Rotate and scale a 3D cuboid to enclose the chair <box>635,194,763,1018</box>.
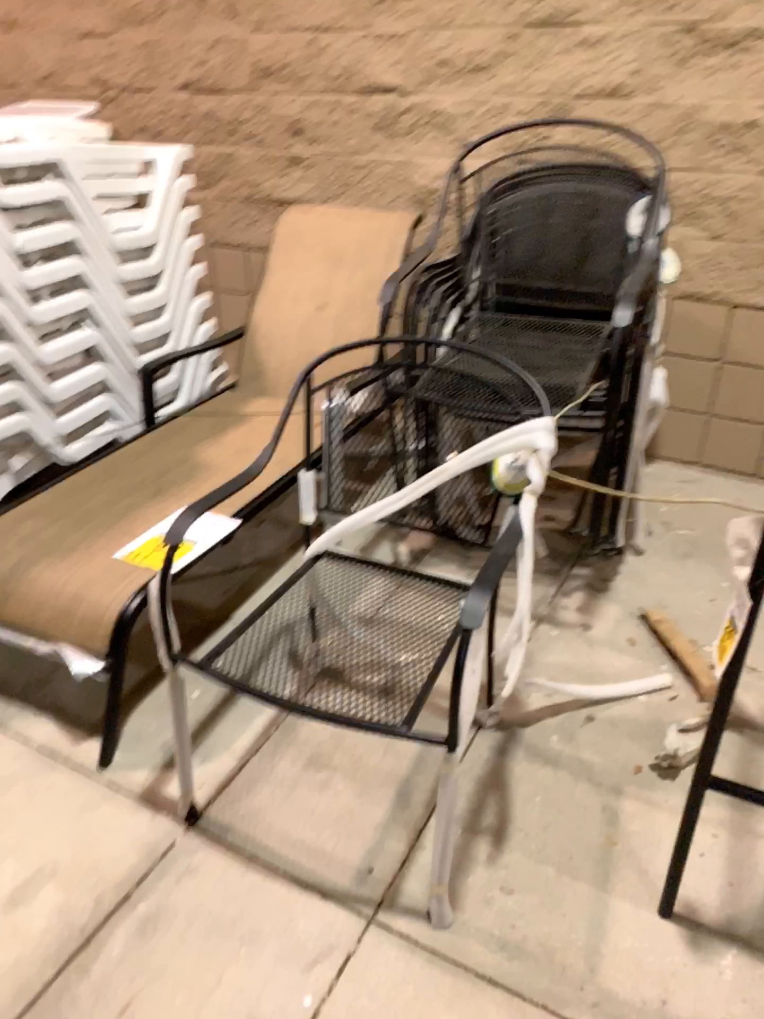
[{"bbox_3d":[0.900,0.142,1.268,0.635,1.129,0.710,14,31,23],"label":"chair"}]

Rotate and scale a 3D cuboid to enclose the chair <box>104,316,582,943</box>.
[{"bbox_3d":[-0.019,0.167,1.486,0.575,0.870,0.640,12,30,20],"label":"chair"}]
